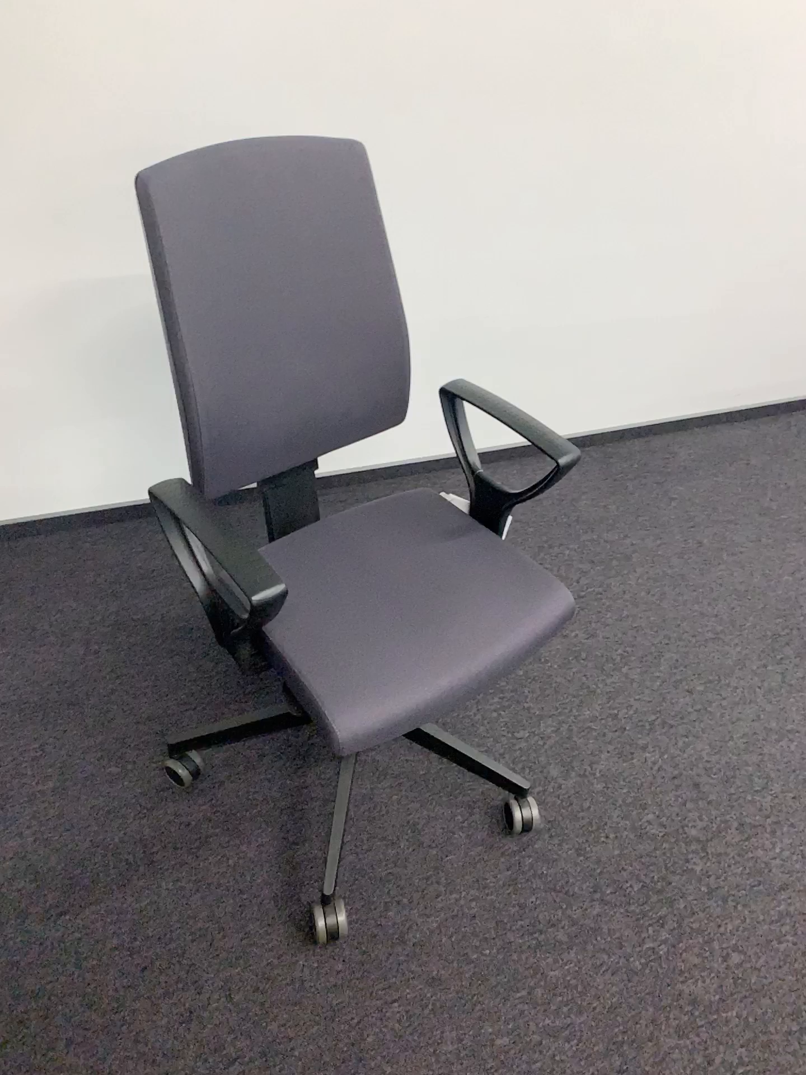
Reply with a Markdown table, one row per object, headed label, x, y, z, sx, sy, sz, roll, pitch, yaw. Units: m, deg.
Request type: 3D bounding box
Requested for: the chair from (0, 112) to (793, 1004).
| label | x | y | z | sx | sy | sz | roll | pitch | yaw |
| --- | --- | --- | --- | --- | --- | --- | --- | --- | --- |
| chair | -0.081 | -0.015 | 1.350 | 0.702 | 1.034 | 0.782 | -23 | 46 | -30 |
